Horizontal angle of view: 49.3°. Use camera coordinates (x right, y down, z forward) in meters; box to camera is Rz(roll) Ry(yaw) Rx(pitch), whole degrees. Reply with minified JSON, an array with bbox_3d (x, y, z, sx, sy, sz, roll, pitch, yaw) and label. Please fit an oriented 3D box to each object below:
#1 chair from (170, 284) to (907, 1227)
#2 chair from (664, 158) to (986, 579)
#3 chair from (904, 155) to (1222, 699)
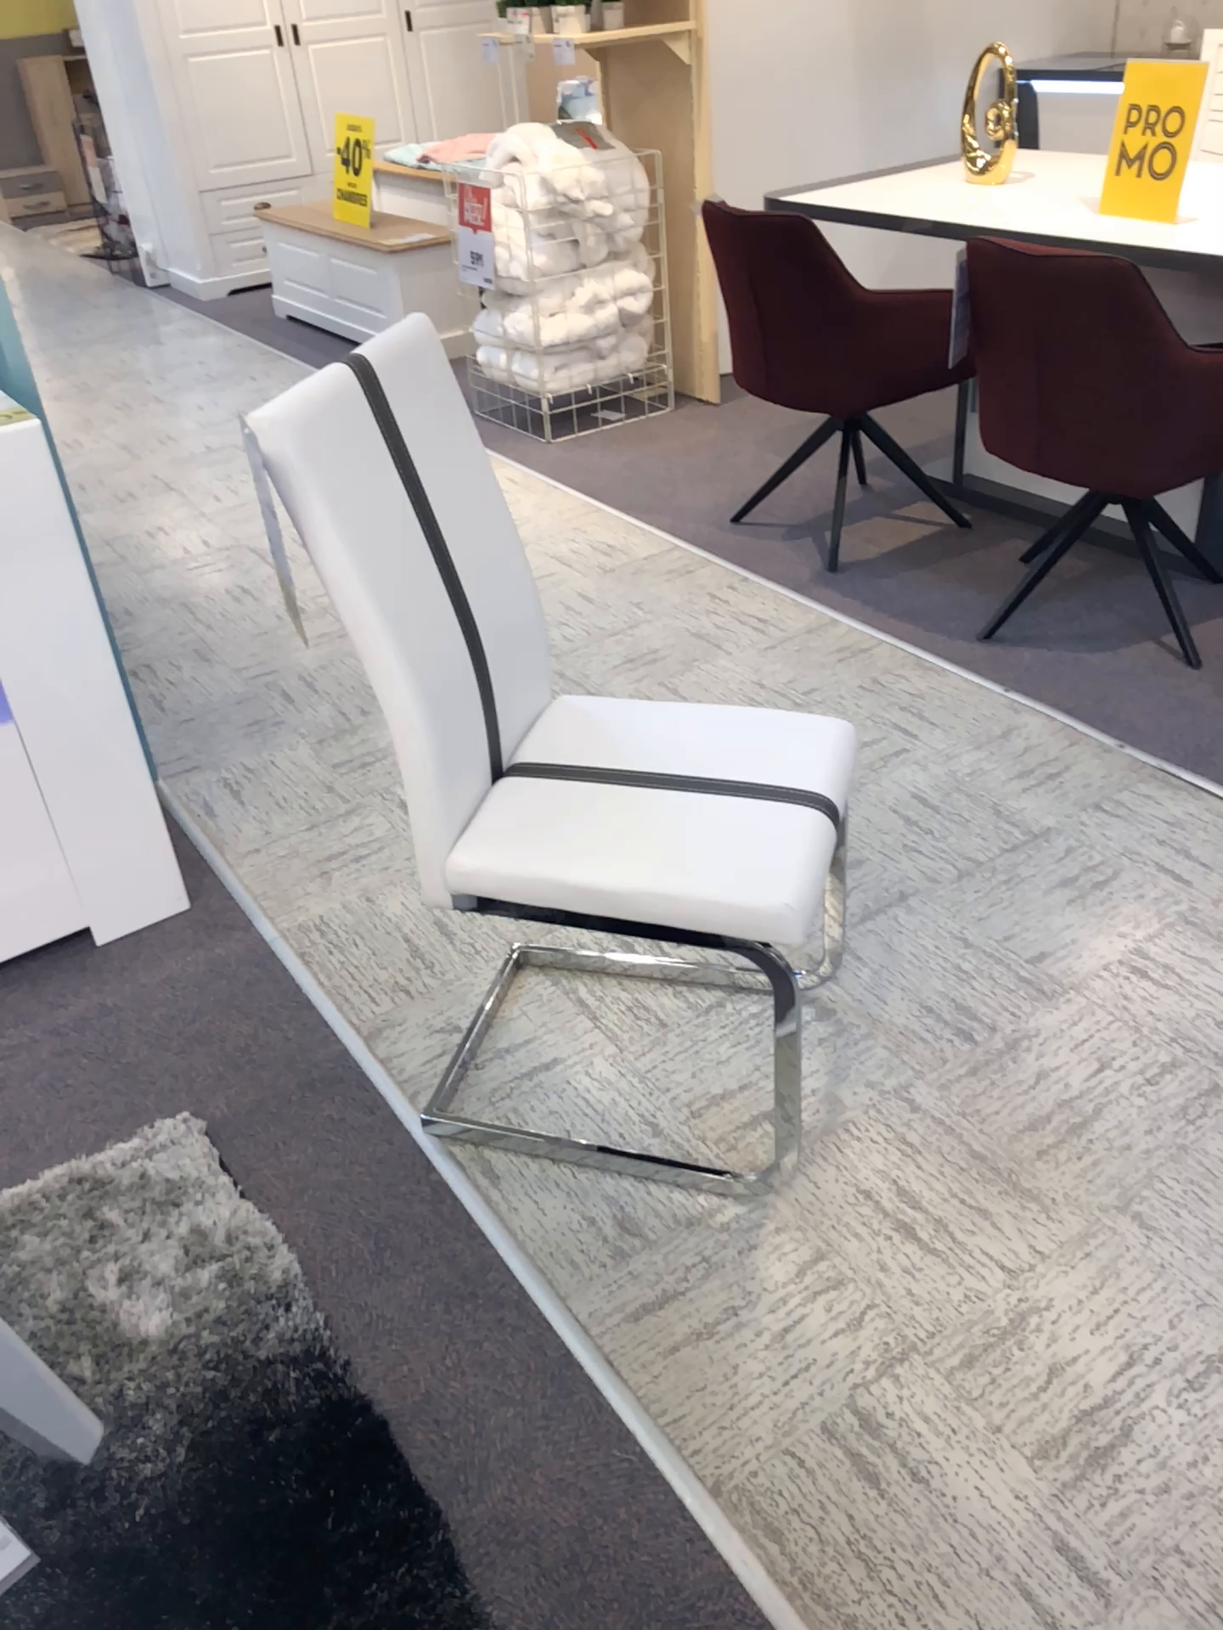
[{"bbox_3d":[-0.004,-0.078,1.503,0.569,0.878,0.490,6,34,17],"label":"chair"},{"bbox_3d":[0.552,-1.190,3.508,0.571,0.878,0.538,-24,37,-27],"label":"chair"},{"bbox_3d":[1.105,-0.858,2.831,0.638,0.878,0.693,24,43,38],"label":"chair"}]
